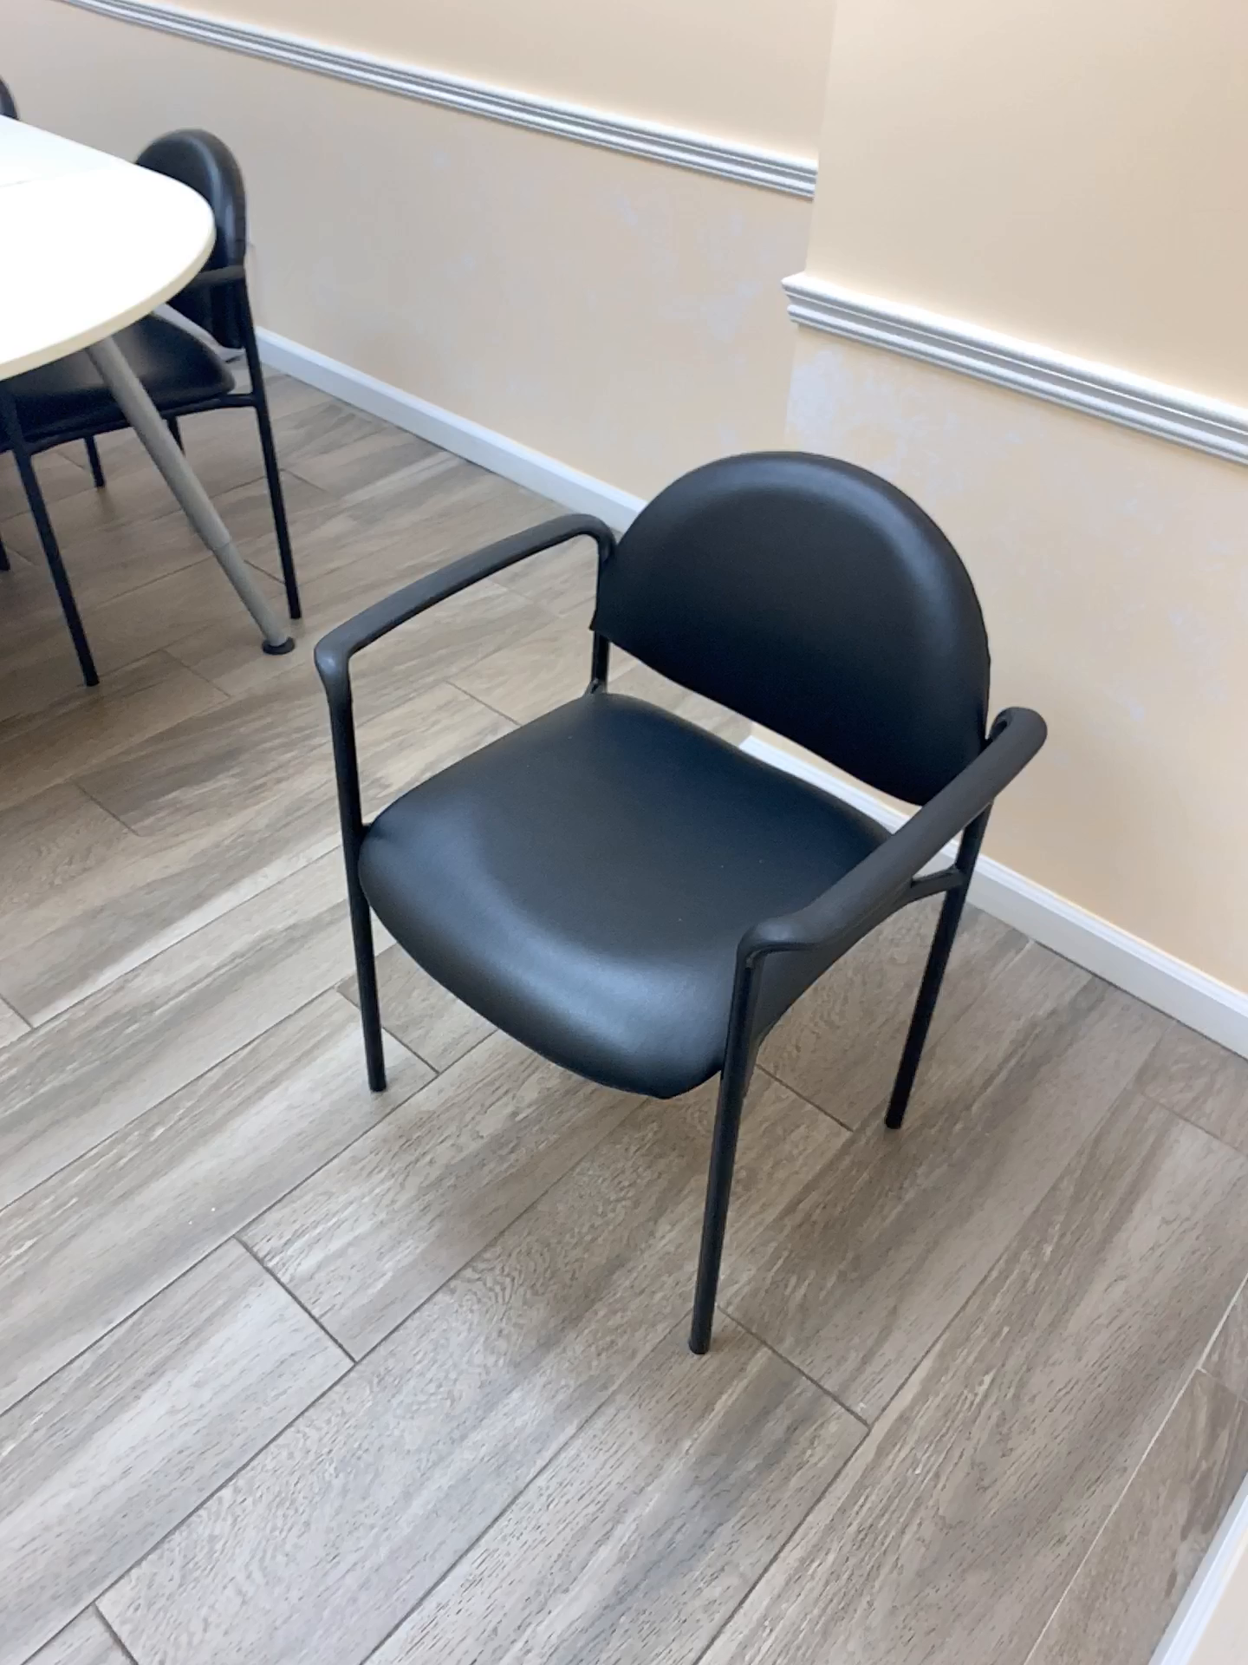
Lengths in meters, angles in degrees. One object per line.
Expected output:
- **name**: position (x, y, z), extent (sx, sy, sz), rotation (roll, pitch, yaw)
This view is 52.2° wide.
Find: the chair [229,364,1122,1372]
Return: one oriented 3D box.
- **chair**: position (0.038, 0.017, 1.339), extent (0.584, 0.726, 0.512), rotation (30, 48, 28)
